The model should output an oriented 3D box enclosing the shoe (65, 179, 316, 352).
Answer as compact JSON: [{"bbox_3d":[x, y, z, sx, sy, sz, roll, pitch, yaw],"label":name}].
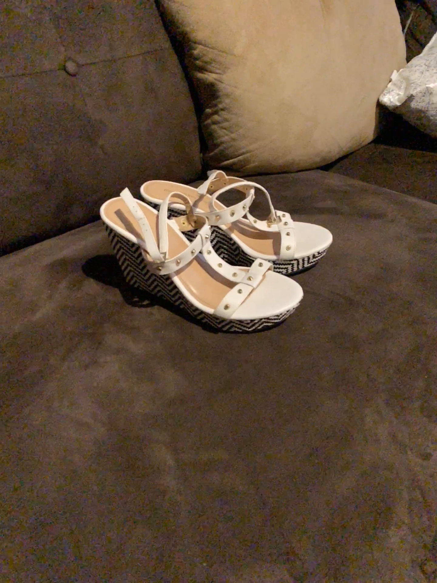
[{"bbox_3d":[-0.034,-0.042,0.527,0.260,0.099,0.110,18,38,21],"label":"shoe"}]

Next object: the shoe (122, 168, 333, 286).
[{"bbox_3d":[0.015,-0.089,0.592,0.250,0.099,0.101,6,35,8],"label":"shoe"}]
